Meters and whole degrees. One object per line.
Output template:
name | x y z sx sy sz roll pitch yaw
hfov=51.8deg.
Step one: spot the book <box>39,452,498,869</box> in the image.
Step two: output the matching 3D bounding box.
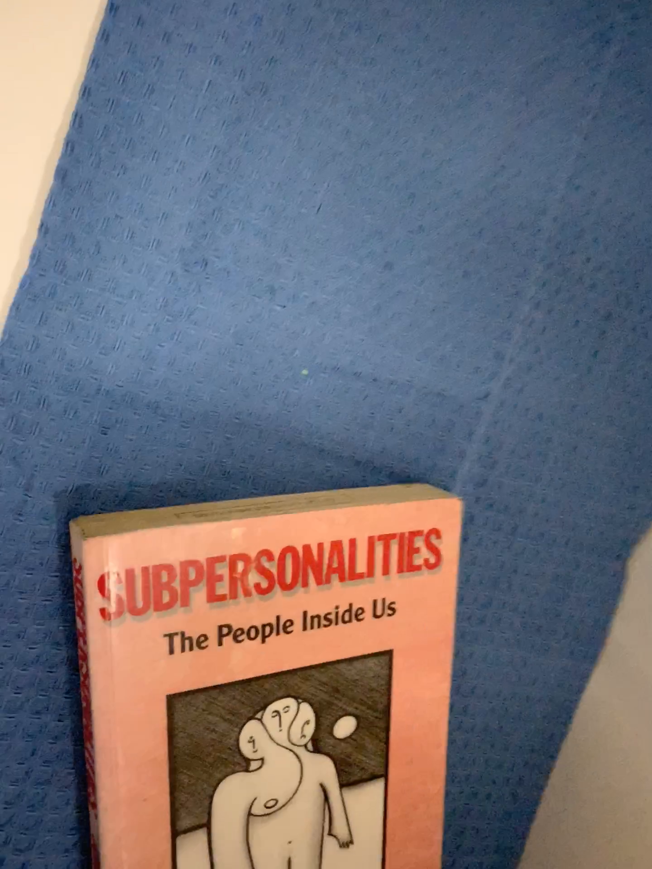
book | -0.019 0.129 0.266 0.160 0.040 0.230 -4 102 -22
